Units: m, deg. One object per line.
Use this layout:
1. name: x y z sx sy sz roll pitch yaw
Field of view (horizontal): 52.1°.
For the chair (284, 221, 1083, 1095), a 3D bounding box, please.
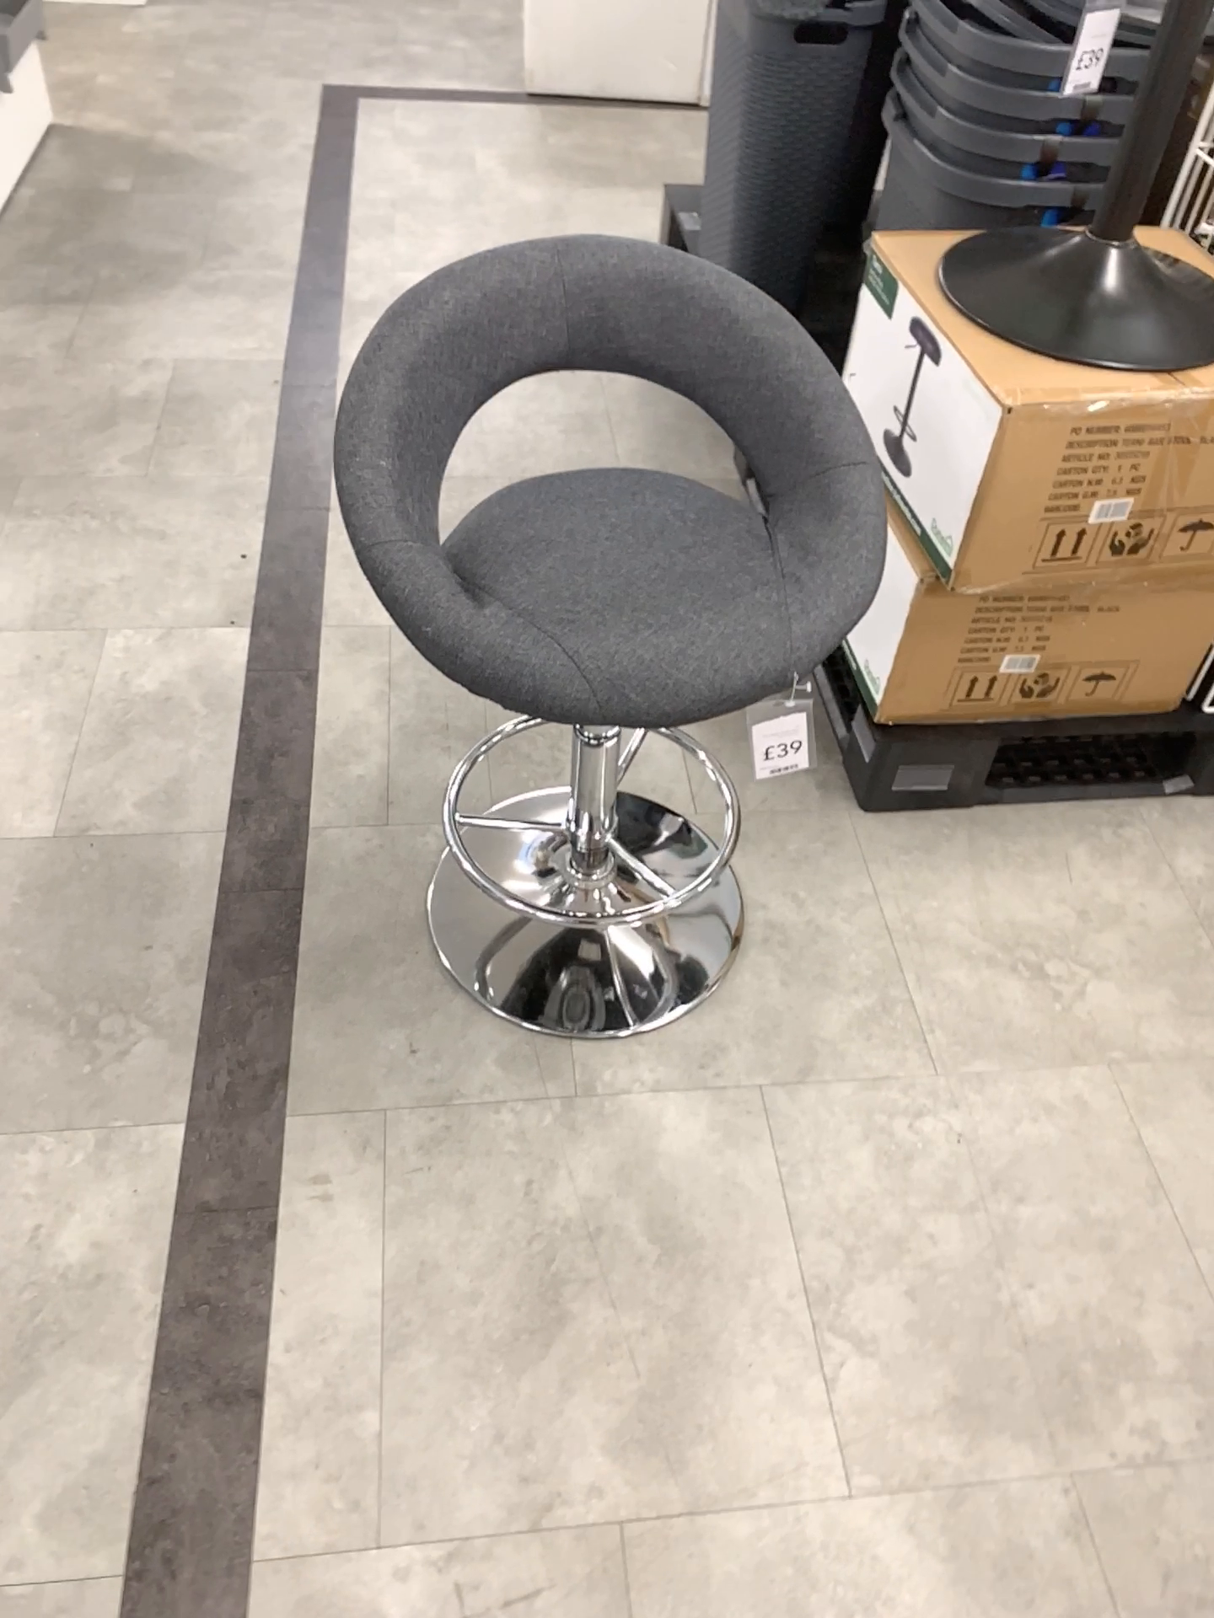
1. chair: 0.004 -0.174 1.360 0.572 0.664 0.597 -8 48 -14
